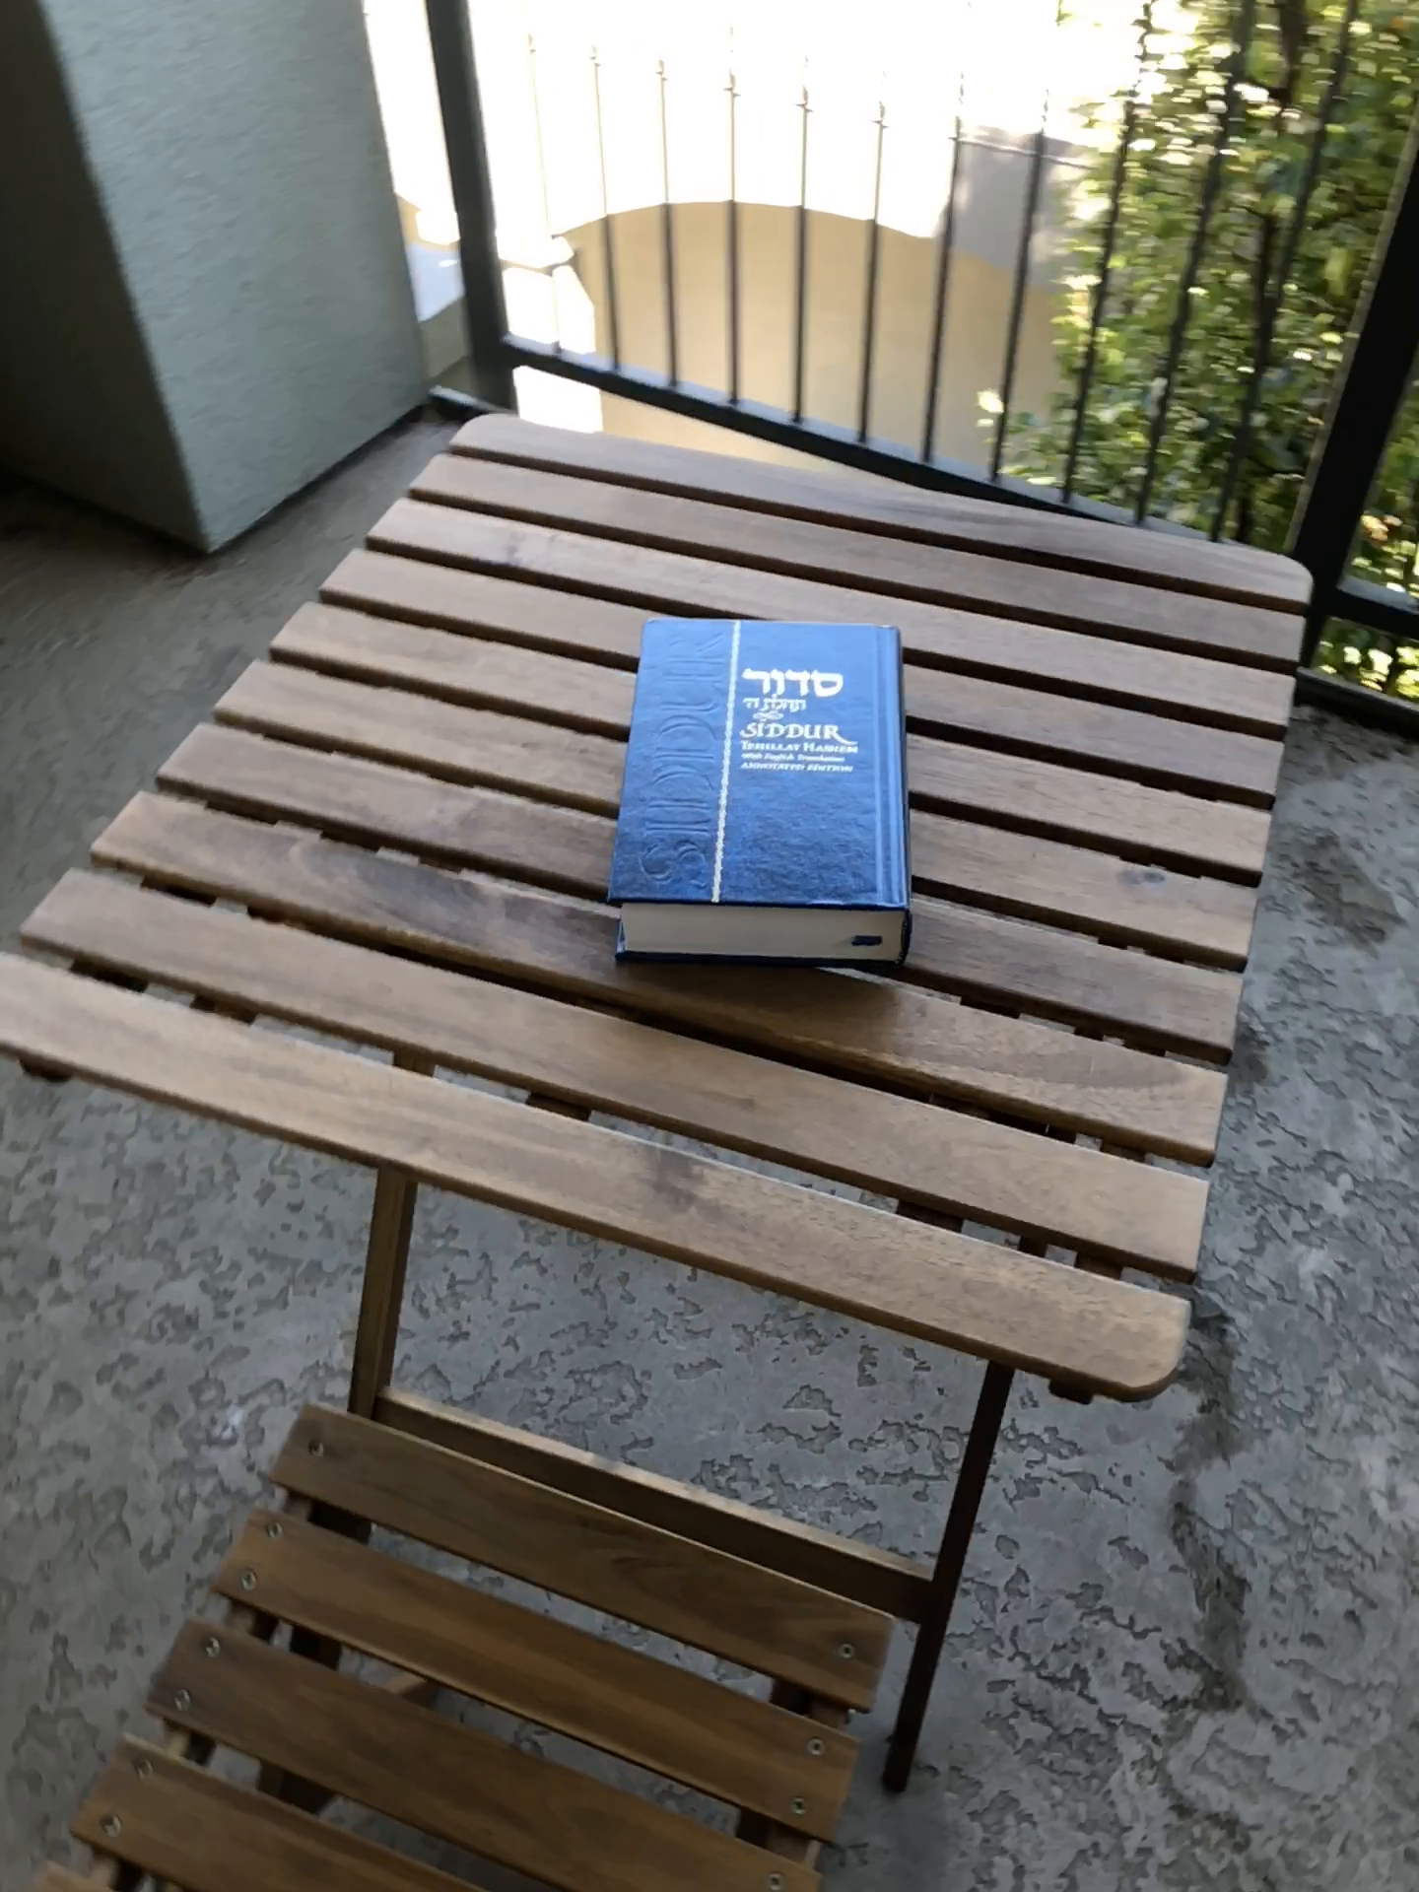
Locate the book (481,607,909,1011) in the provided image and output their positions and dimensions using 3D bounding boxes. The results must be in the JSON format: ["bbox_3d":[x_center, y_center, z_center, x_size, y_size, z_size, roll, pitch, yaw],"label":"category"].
[{"bbox_3d":[0.000,-0.080,0.834,0.200,0.070,0.231,2,48,3],"label":"book"}]
